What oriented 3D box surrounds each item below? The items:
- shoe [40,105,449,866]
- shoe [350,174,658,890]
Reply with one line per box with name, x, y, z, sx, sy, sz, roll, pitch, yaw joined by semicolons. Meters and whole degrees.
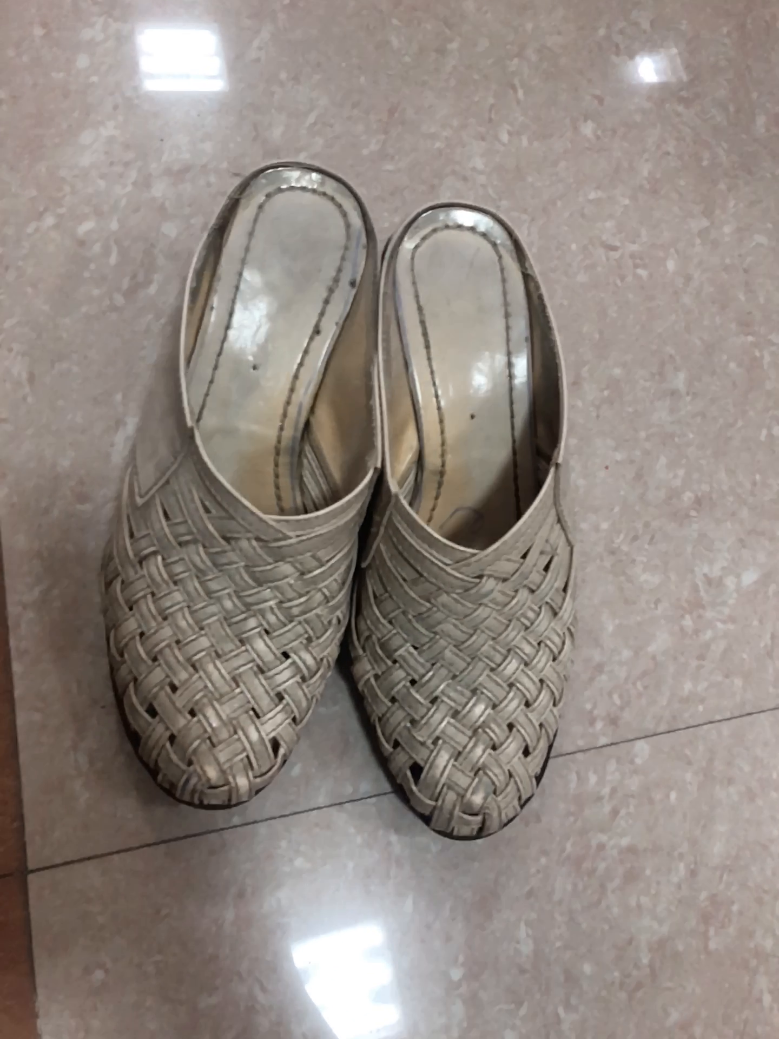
shoe;-0.044;-0.013;0.314;0.090;0.080;0.240;9;76;-6
shoe;0.032;0.002;0.326;0.090;0.080;0.240;1;77;-6
